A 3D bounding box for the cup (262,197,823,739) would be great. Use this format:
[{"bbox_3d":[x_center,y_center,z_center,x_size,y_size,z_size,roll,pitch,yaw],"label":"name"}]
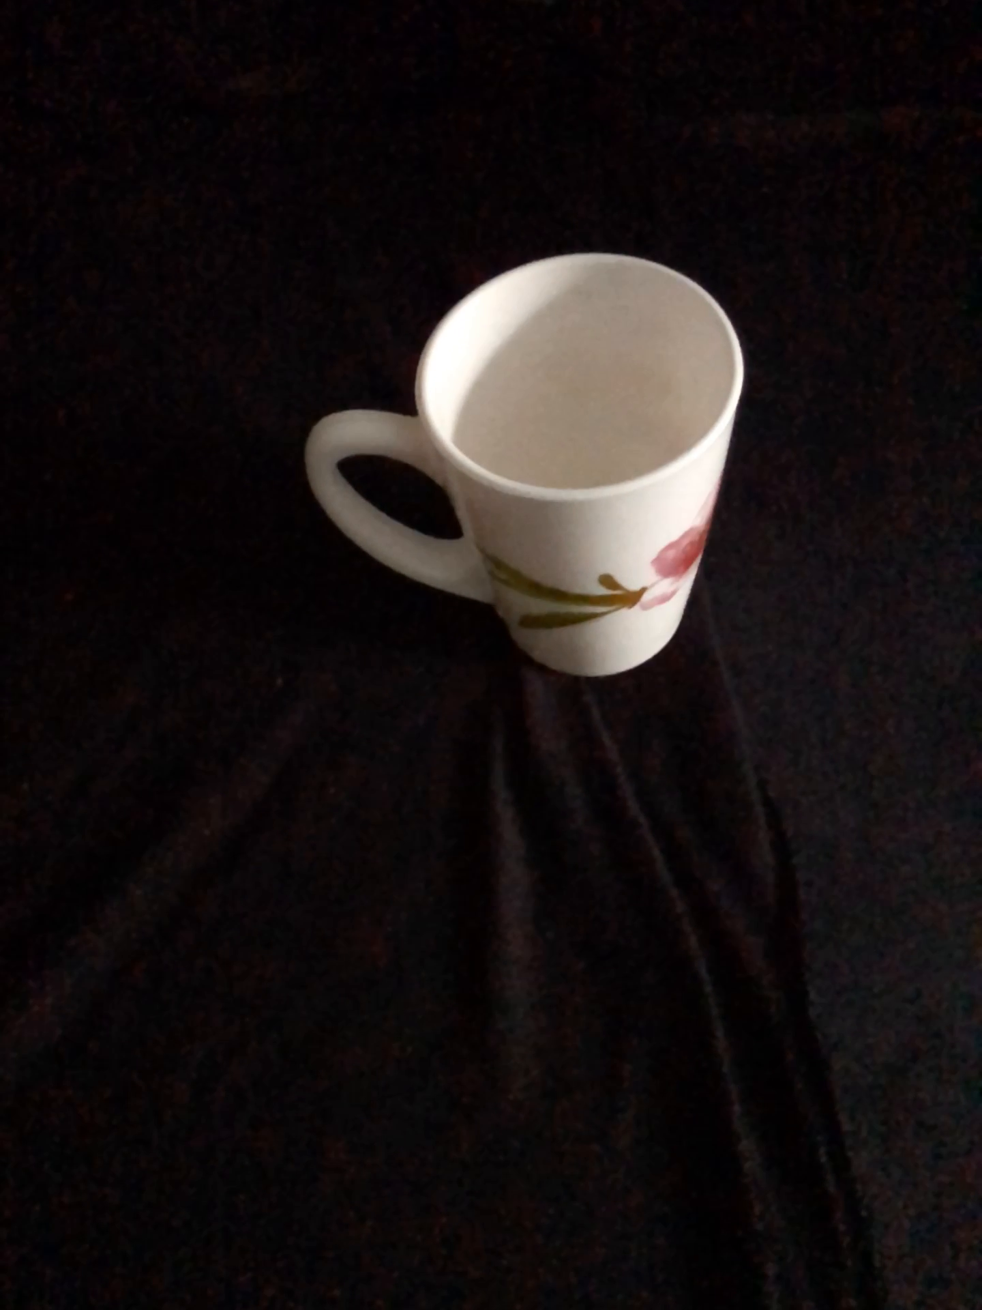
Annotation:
[{"bbox_3d":[0.009,-0.046,0.320,0.125,0.130,0.090,-4,64,-1],"label":"cup"}]
